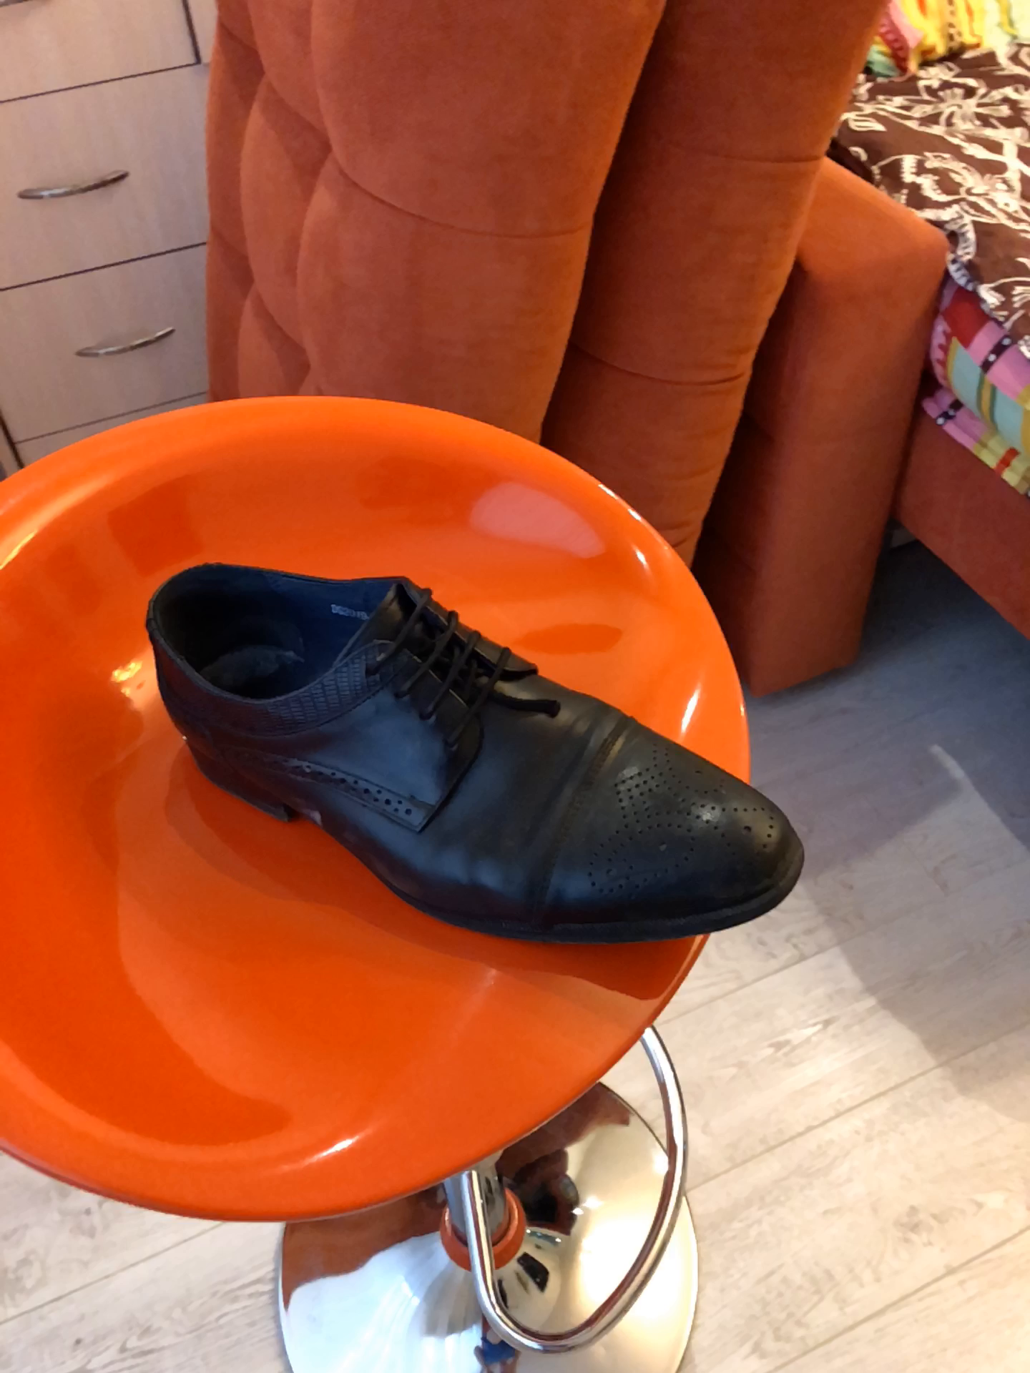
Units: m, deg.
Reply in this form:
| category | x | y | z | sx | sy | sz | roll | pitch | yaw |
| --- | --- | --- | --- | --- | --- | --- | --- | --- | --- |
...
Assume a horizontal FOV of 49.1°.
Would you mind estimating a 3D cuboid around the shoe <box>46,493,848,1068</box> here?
| category | x | y | z | sx | sy | sz | roll | pitch | yaw |
| --- | --- | --- | --- | --- | --- | --- | --- | --- | --- |
| shoe | -0.032 | 0.023 | 0.474 | 0.300 | 0.079 | 0.121 | 21 | 52 | 22 |
